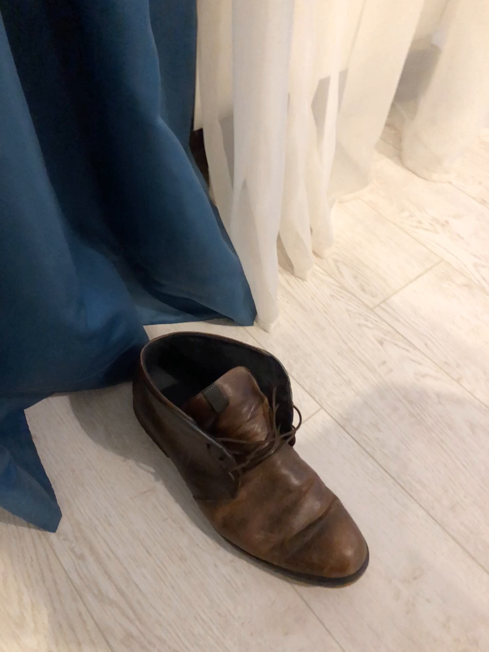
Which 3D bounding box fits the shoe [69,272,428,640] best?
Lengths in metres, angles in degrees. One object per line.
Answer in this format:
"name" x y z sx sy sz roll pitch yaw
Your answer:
"shoe" -0.012 0.119 0.539 0.131 0.159 0.321 -37 63 -28
